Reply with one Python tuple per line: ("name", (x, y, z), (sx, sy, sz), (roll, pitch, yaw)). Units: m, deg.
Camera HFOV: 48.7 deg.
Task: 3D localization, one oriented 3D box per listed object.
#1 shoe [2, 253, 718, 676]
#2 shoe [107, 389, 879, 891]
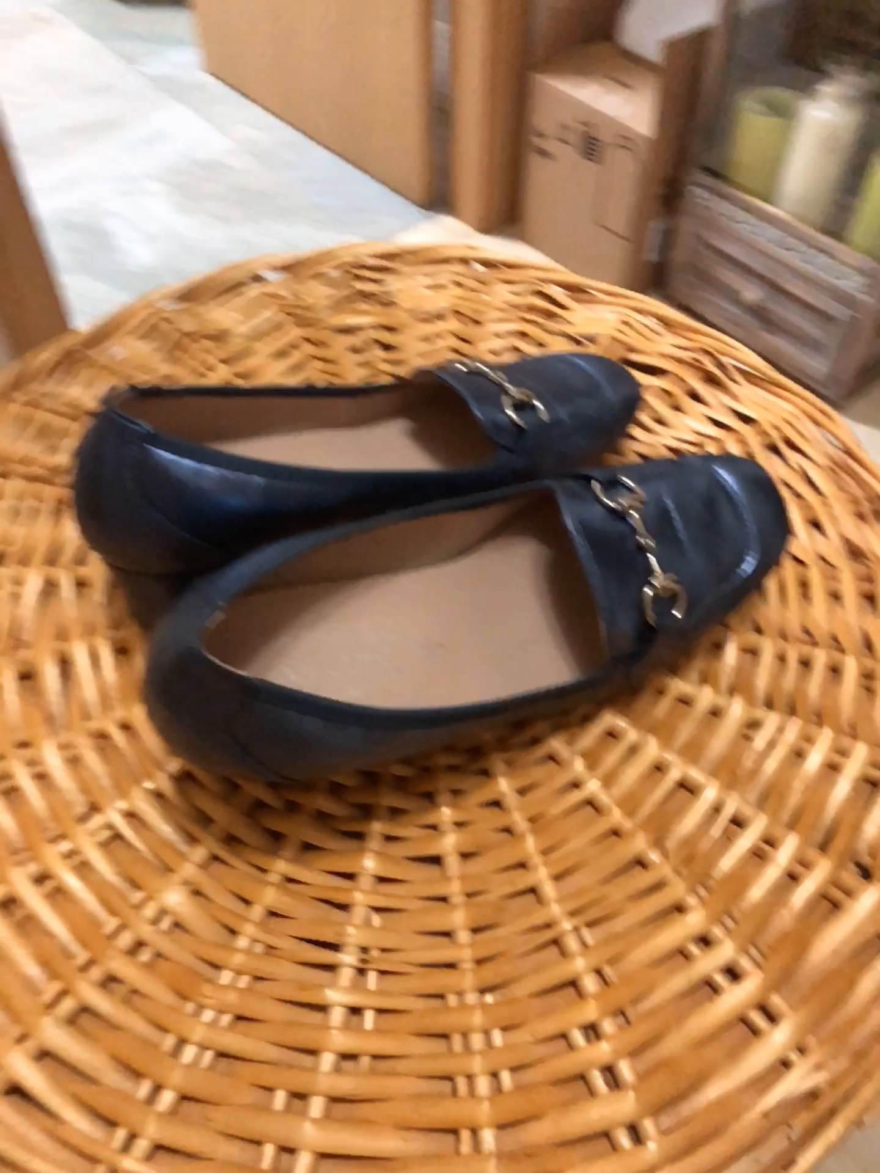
("shoe", (-0.025, -0.061, 0.397), (0.260, 0.090, 0.090), (-16, 59, -30))
("shoe", (0.025, 0.005, 0.348), (0.250, 0.090, 0.100), (-11, 58, -30))
